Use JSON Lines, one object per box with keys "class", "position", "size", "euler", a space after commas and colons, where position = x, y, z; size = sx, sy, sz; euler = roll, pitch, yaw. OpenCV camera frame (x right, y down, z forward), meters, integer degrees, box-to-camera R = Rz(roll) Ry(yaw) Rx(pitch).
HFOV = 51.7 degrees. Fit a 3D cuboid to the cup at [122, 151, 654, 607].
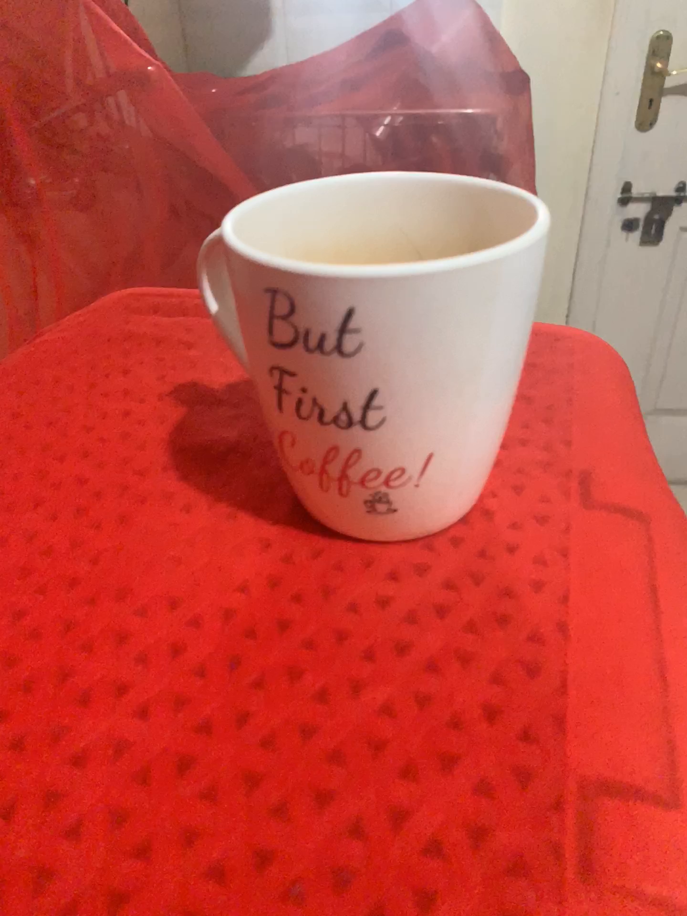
{"class": "cup", "position": [0.013, -0.035, 0.212], "size": [0.110, 0.079, 0.090], "euler": [22, 41, 31]}
